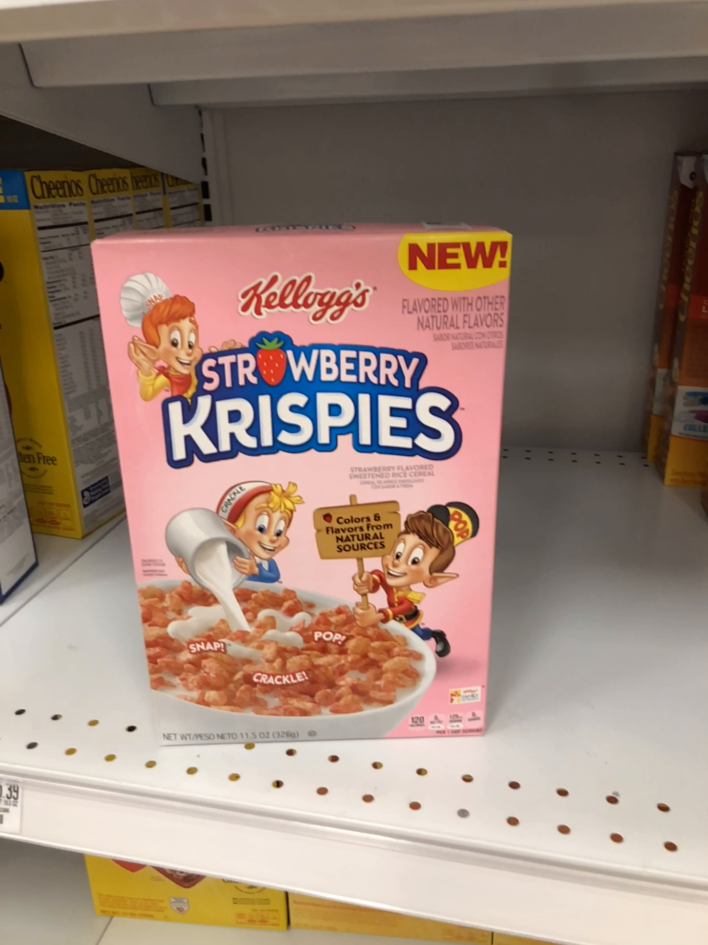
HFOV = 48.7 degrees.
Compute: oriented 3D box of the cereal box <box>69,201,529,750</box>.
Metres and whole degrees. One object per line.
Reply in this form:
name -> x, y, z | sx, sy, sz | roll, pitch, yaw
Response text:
cereal box -> -0.019, 0.011, 0.430 | 0.200, 0.289, 0.070 | -2, 24, 0
